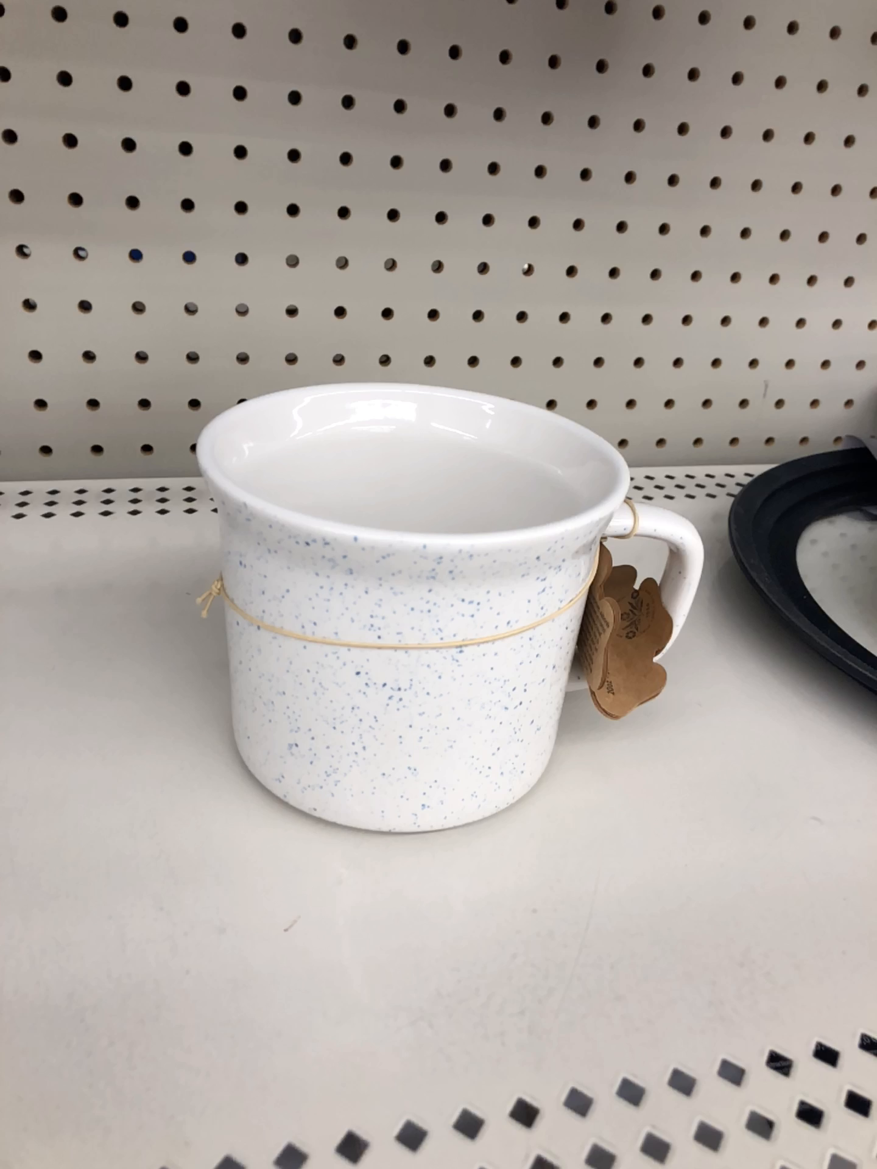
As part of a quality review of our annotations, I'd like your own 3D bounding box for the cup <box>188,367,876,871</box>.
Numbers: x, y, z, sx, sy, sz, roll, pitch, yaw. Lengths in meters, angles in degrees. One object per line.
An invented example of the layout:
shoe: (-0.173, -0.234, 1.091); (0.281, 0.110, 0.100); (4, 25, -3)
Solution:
cup: (0.017, -0.002, 0.278); (0.159, 0.090, 0.102); (-5, 30, -18)
